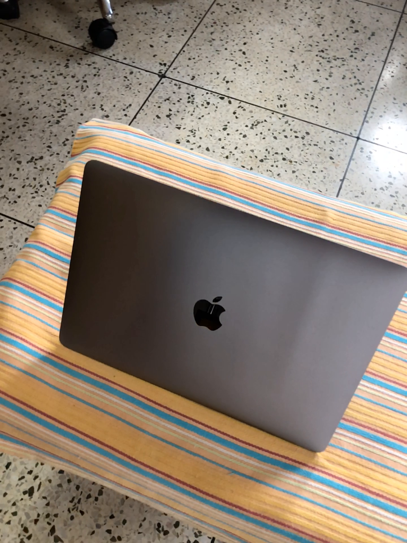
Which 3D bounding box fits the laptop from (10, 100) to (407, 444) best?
[{"bbox_3d":[0.016,0.001,0.451,0.294,0.160,0.204,22,64,10],"label":"laptop"}]
